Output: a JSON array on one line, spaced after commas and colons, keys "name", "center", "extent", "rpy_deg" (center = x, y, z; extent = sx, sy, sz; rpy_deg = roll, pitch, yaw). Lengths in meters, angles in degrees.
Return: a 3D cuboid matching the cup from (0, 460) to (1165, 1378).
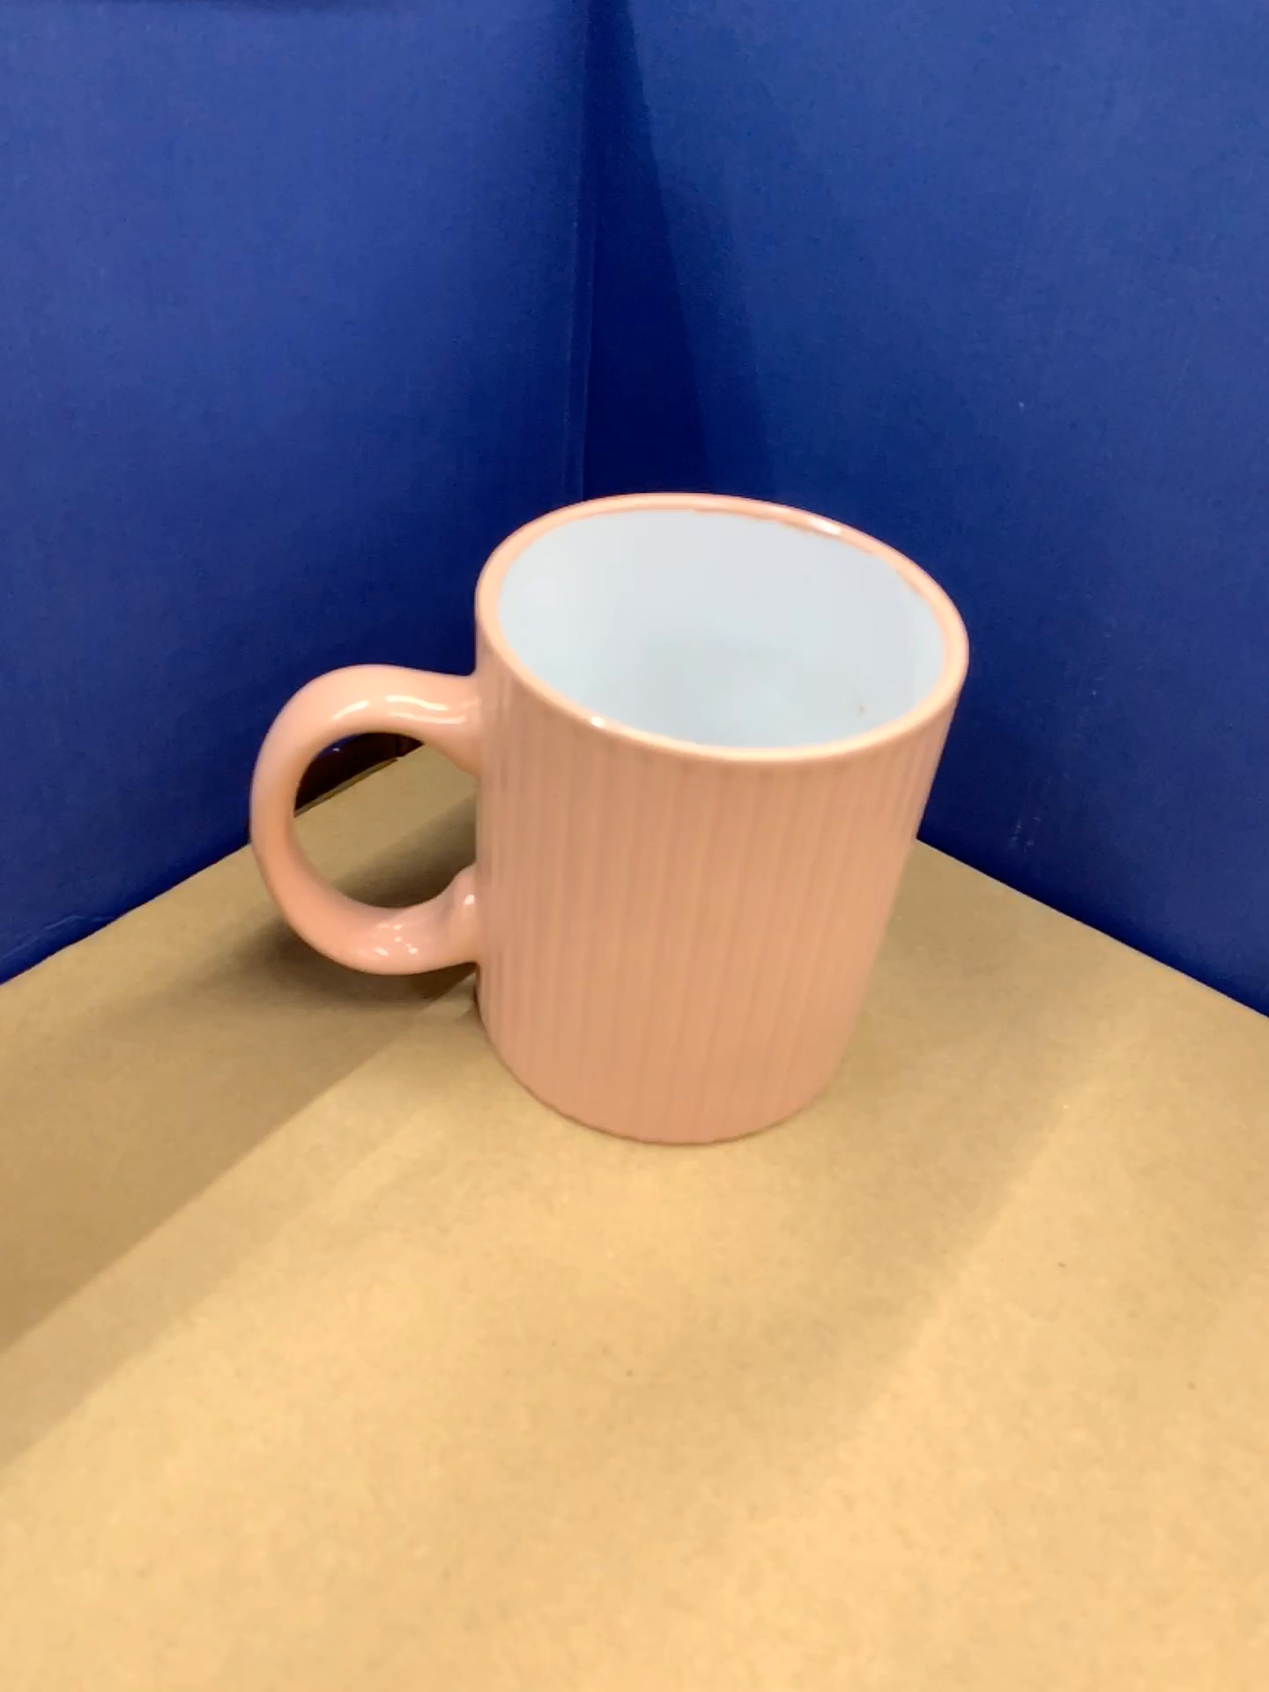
[{"name": "cup", "center": [-0.015, 0.009, 0.246], "extent": [0.154, 0.128, 0.102], "rpy_deg": [0, 32, -10]}]
